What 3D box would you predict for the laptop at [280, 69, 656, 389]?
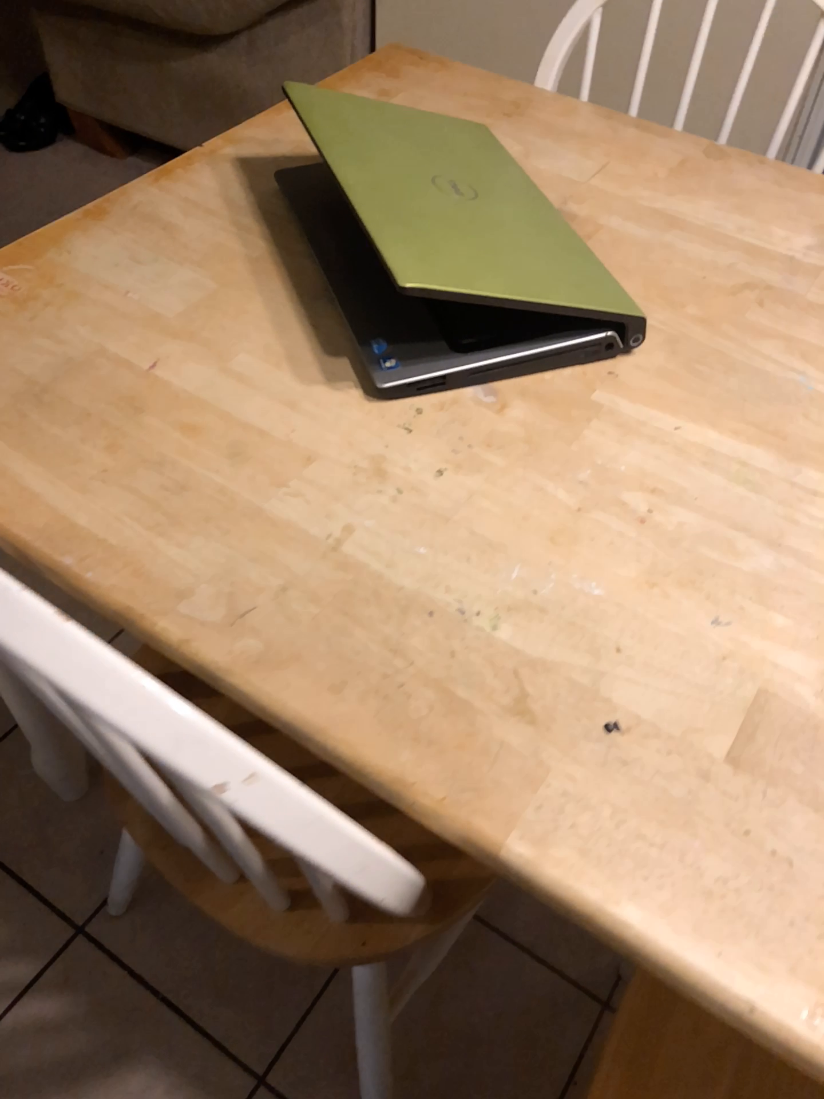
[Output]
[{"bbox_3d":[0.030,-0.313,0.829,0.227,0.076,0.360,-14,51,-12],"label":"laptop"}]
